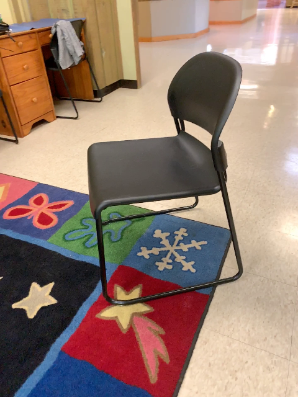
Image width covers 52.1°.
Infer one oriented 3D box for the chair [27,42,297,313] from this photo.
[{"bbox_3d":[0.016,-0.116,1.143,0.630,0.735,0.614,-7,34,-6],"label":"chair"}]
